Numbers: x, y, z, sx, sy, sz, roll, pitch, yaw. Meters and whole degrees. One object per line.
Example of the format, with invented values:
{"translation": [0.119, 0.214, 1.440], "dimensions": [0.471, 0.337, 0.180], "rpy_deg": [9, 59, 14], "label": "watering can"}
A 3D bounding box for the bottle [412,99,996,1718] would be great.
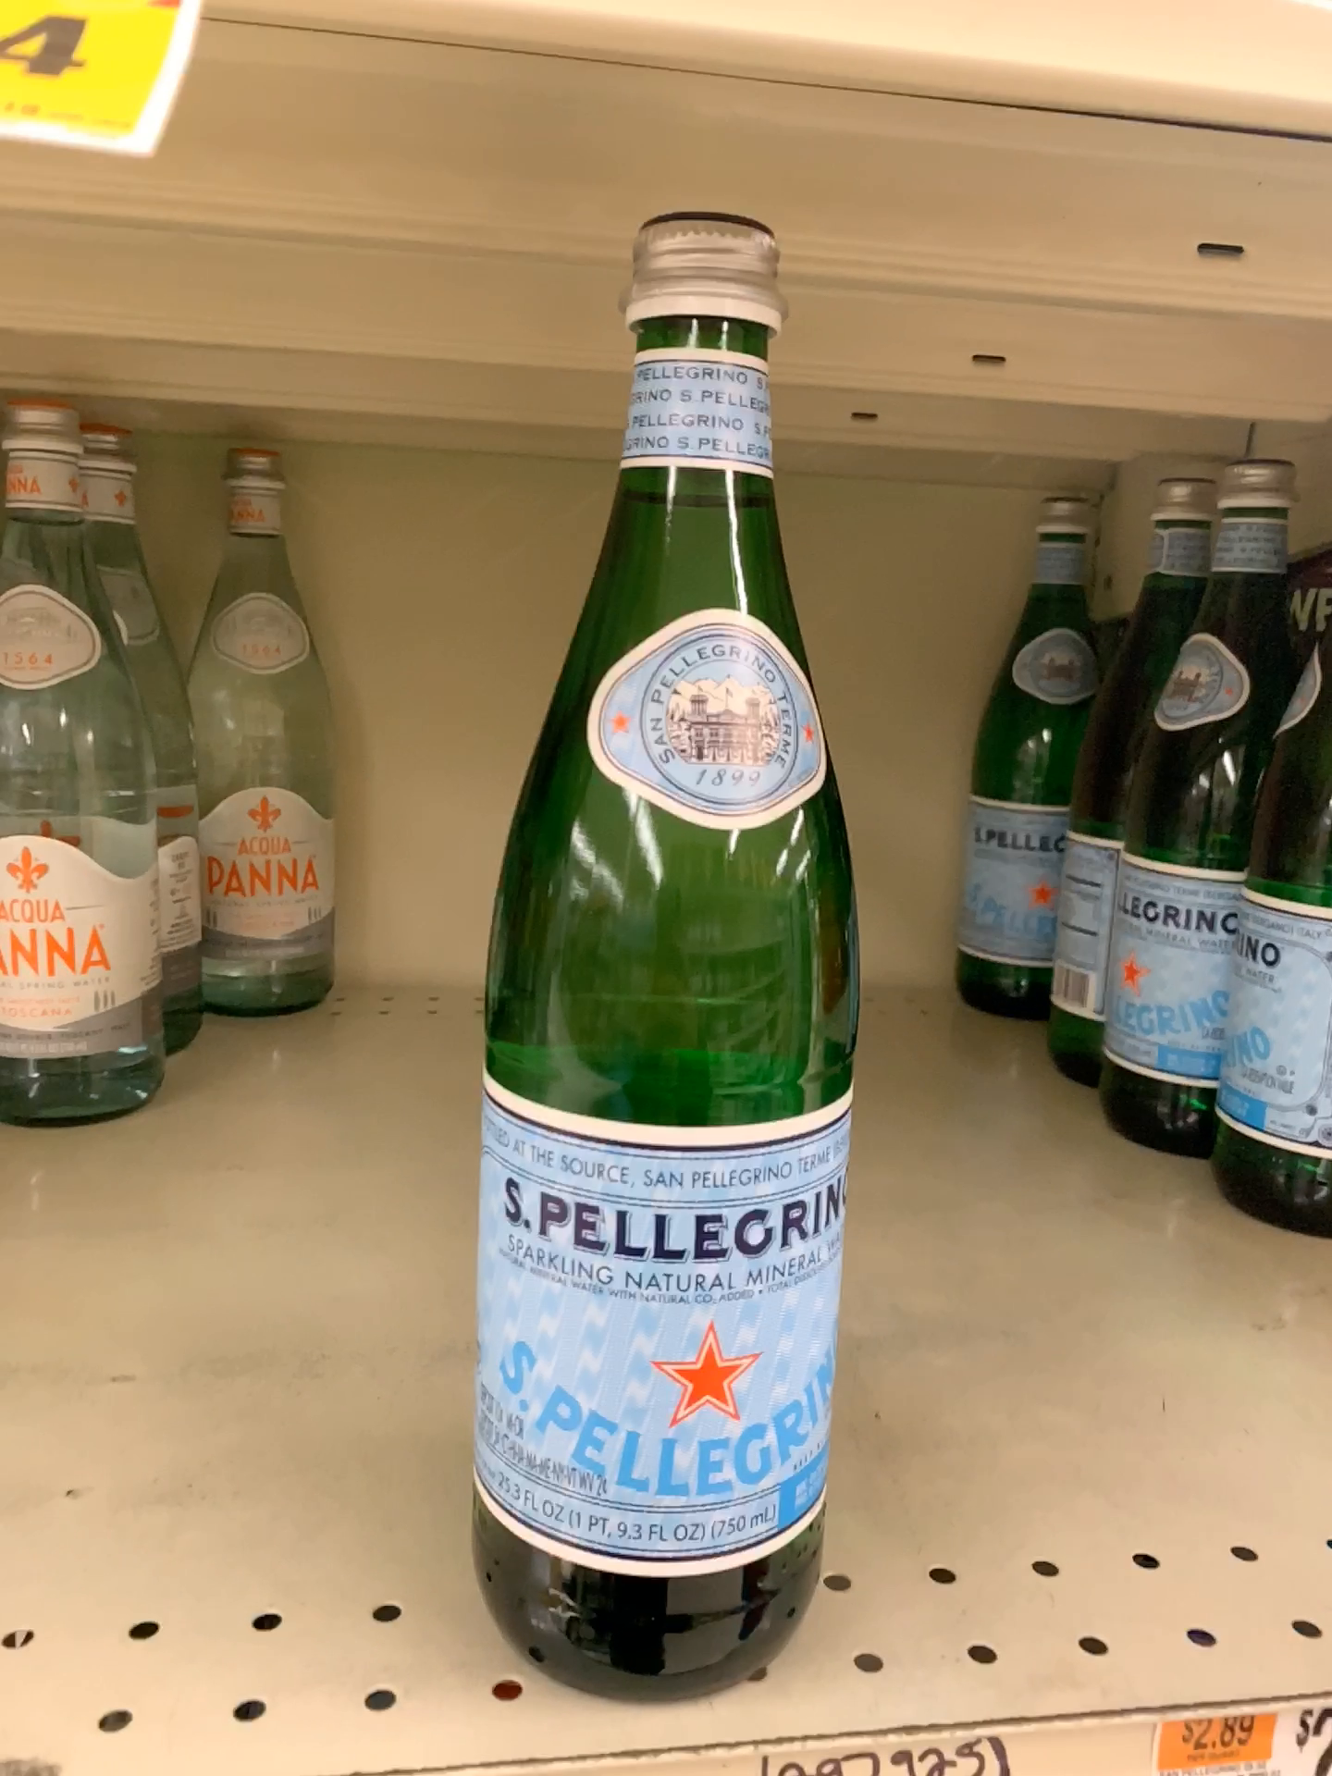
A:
{"translation": [-0.003, 0.012, 0.288], "dimensions": [0.090, 0.289, 0.090], "rpy_deg": [3, 12, -1], "label": "bottle"}
